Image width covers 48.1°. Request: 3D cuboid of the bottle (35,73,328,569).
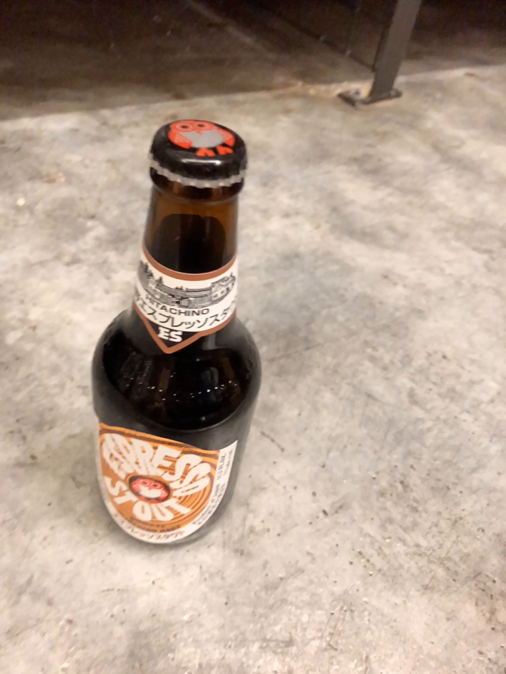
[{"bbox_3d":[-0.027,0.010,0.218,0.063,0.180,0.069,6,44,-6],"label":"bottle"}]
